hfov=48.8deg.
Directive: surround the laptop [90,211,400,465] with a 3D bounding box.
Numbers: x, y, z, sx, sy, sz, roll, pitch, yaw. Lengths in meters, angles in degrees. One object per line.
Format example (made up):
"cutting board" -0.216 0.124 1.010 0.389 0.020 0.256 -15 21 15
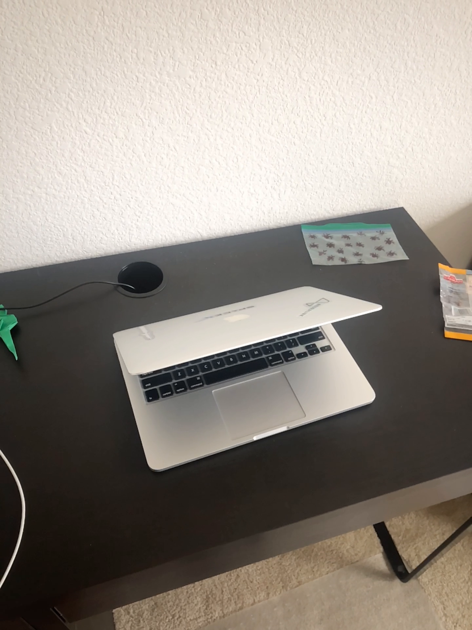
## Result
"laptop" -0.001 0.015 0.665 0.309 0.133 0.225 -14 50 -15
